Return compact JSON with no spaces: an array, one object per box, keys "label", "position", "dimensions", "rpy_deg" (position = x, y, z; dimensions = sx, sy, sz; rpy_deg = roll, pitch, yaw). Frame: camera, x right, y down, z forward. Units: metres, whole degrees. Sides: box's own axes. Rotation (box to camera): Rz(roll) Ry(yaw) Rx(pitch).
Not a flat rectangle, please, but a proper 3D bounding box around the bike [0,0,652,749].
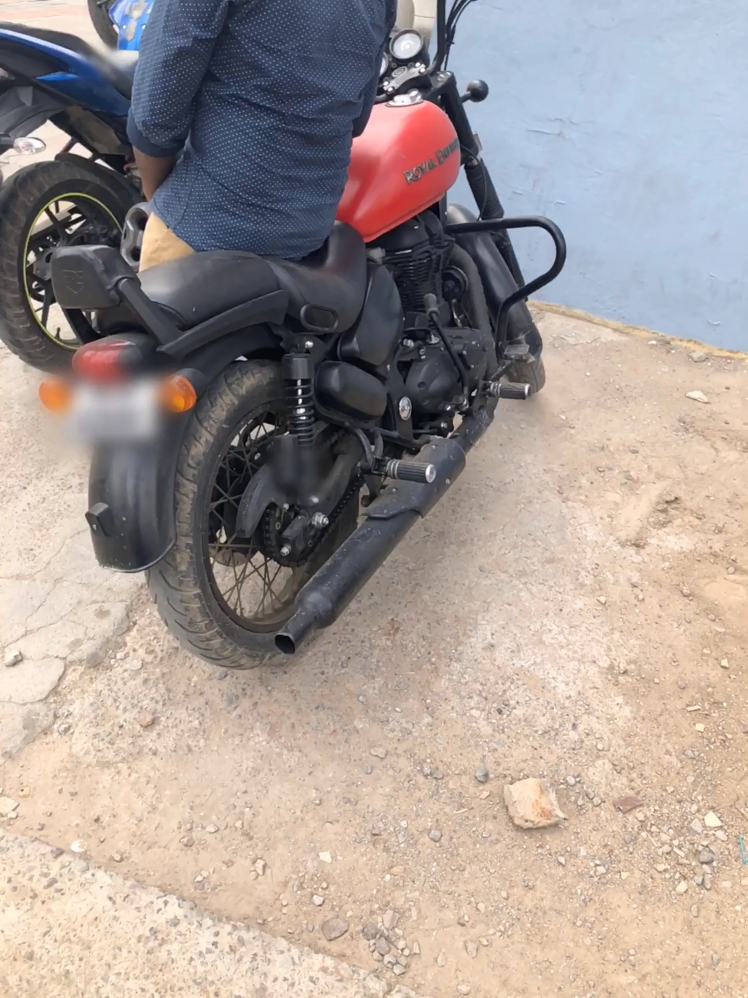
[{"label":"bike","position":[-0.149,-0.650,1.774],"dimensions":[0.776,1.245,1.549],"rpy_deg":[21,43,12]}]
